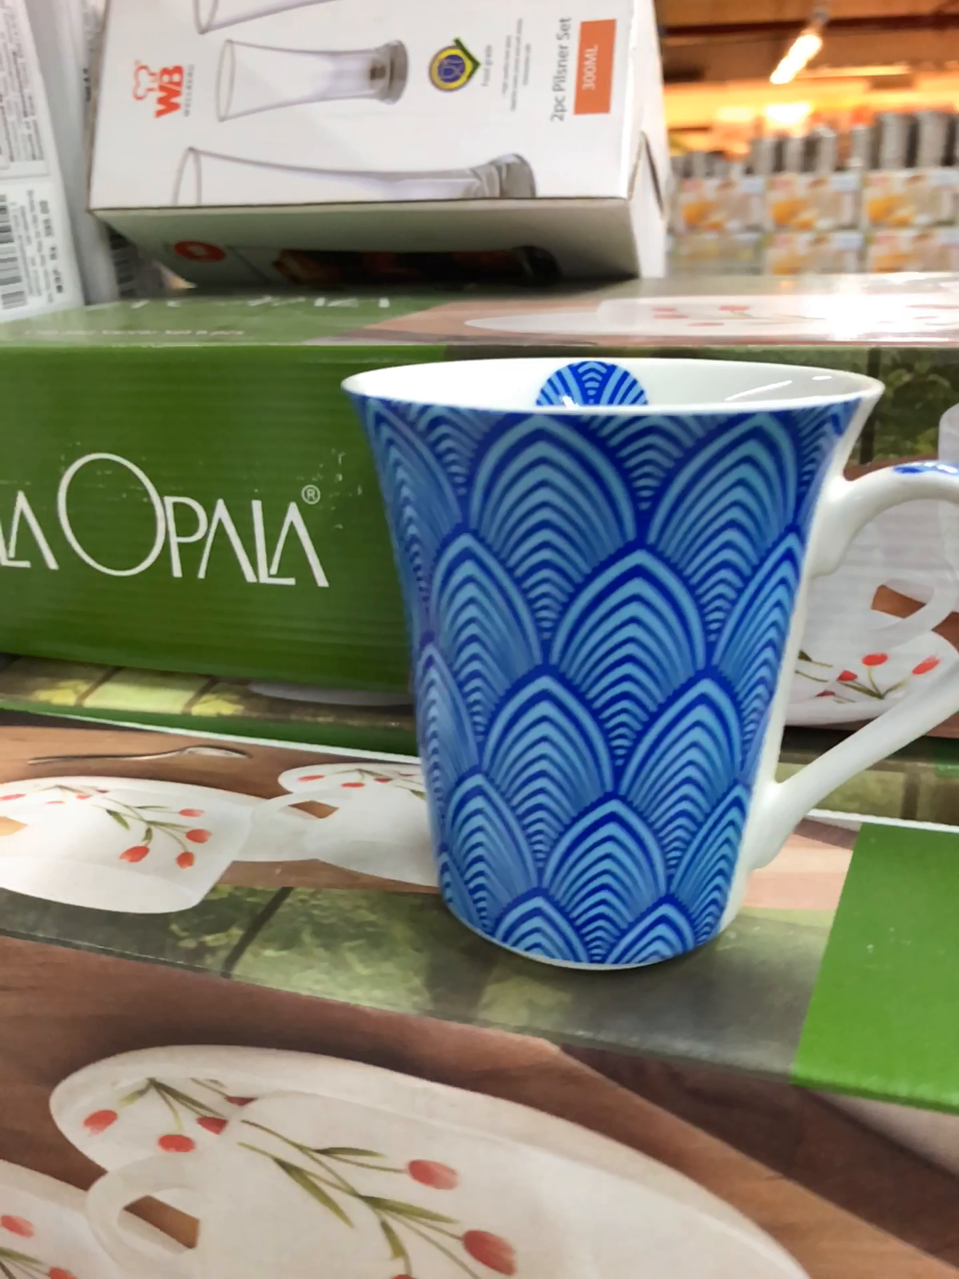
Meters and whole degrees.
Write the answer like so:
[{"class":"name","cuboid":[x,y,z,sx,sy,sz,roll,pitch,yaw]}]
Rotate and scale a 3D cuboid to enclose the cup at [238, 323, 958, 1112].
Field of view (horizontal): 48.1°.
[{"class":"cup","cuboid":[0.033,0.002,0.188,0.110,0.099,0.081,6,25,18]}]
